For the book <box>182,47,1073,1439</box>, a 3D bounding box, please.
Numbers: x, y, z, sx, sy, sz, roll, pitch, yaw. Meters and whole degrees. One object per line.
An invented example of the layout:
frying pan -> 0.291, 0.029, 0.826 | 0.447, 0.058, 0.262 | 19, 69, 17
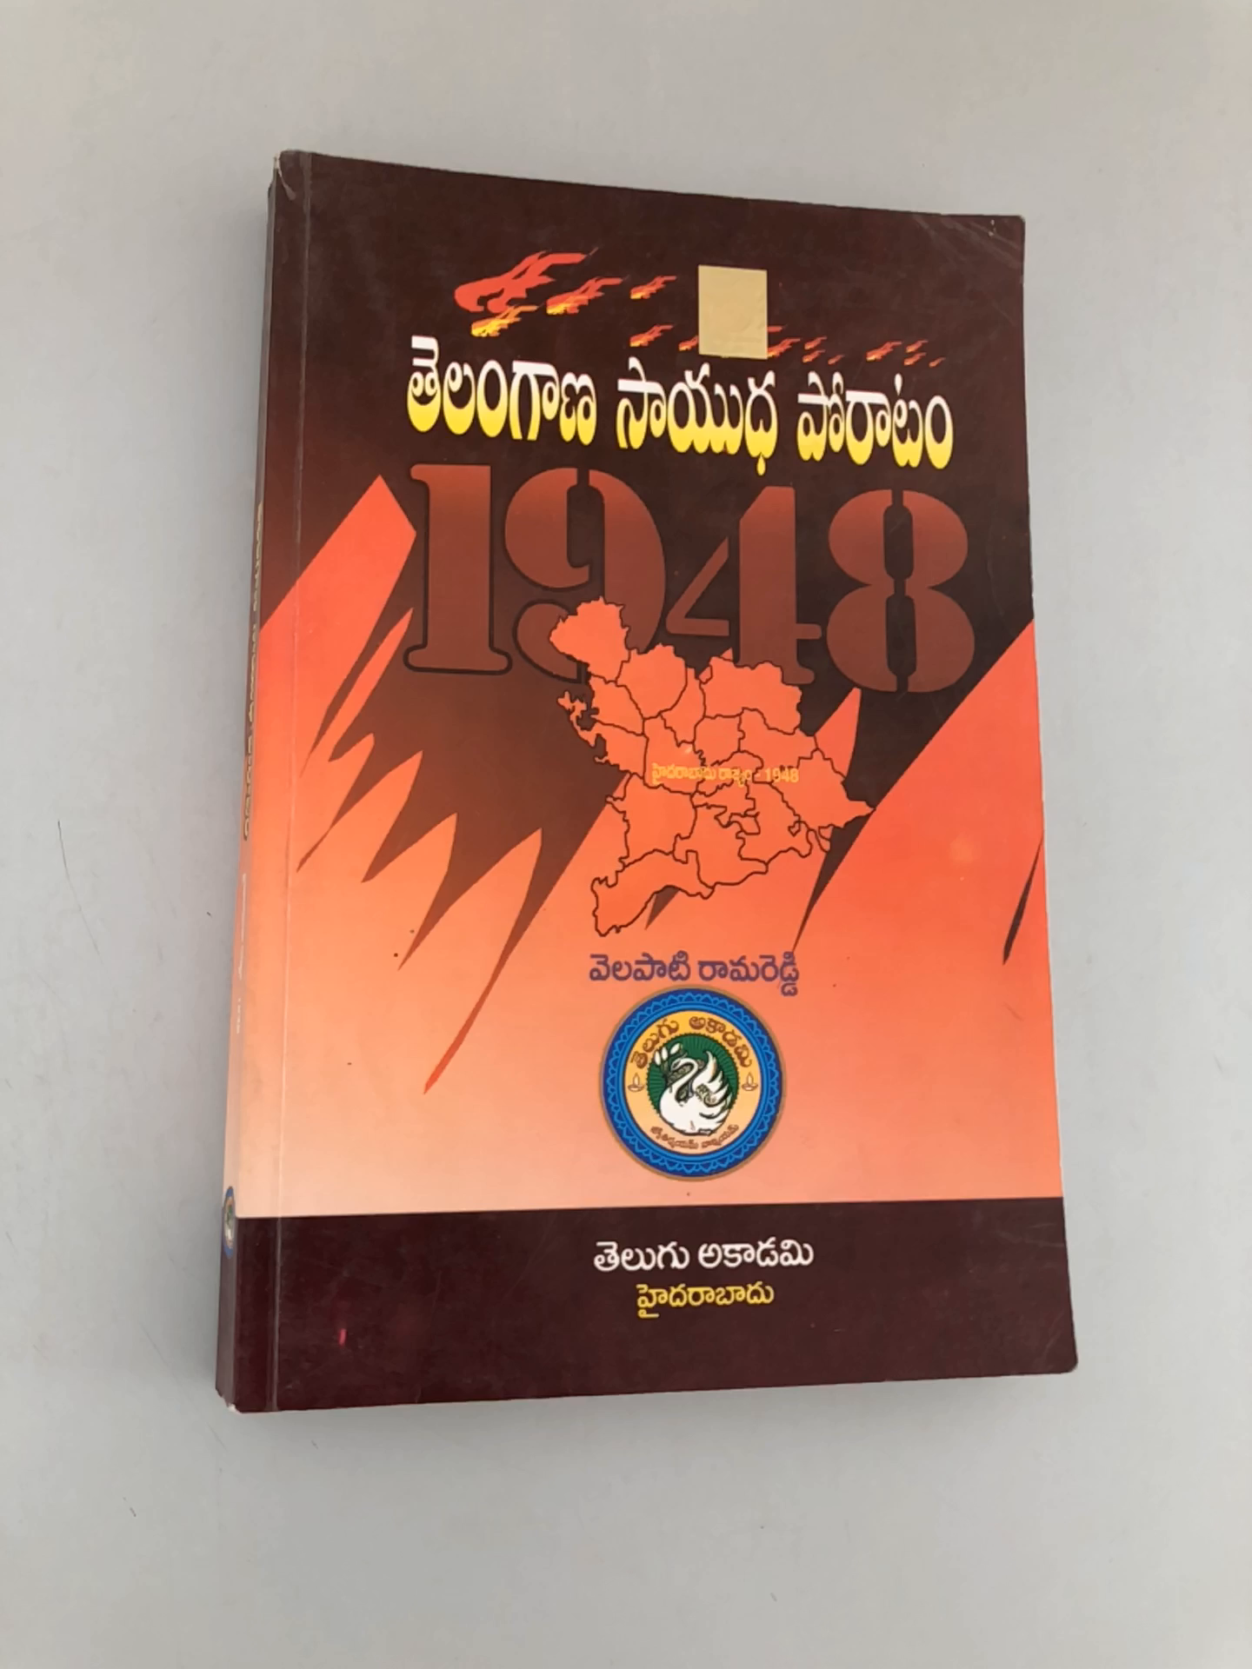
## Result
book -> 0.002, -0.024, 0.295 | 0.170, 0.030, 0.270 | 1, 81, -11
